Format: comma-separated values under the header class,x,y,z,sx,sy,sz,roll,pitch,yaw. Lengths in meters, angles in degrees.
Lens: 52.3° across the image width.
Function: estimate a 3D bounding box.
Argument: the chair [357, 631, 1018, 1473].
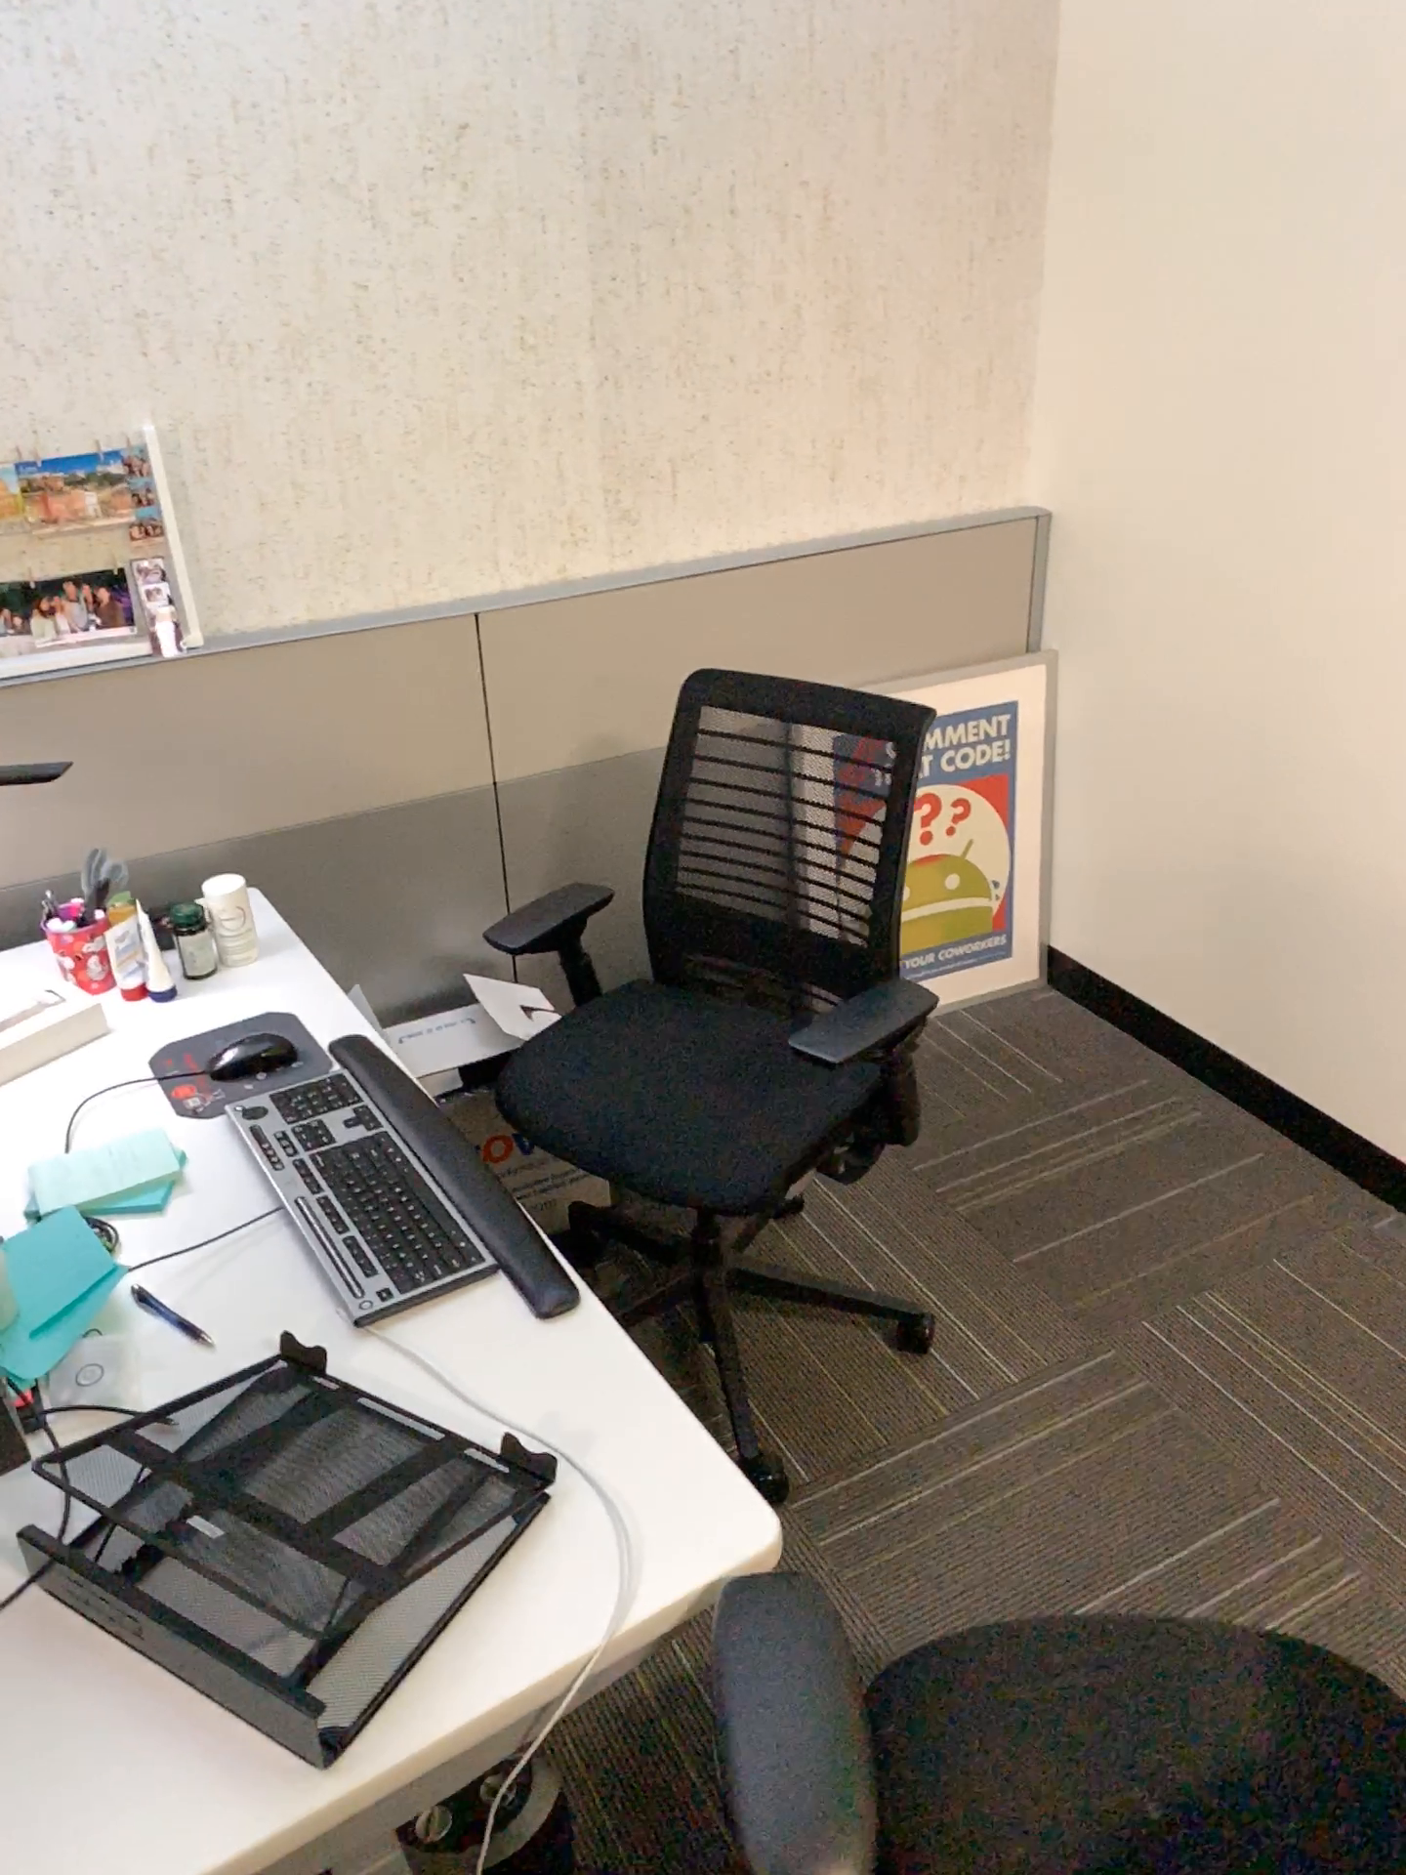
class,x,y,z,sx,sy,sz,roll,pitch,yaw
chair,0.009,0.122,2.215,0.672,0.954,0.652,16,33,31
